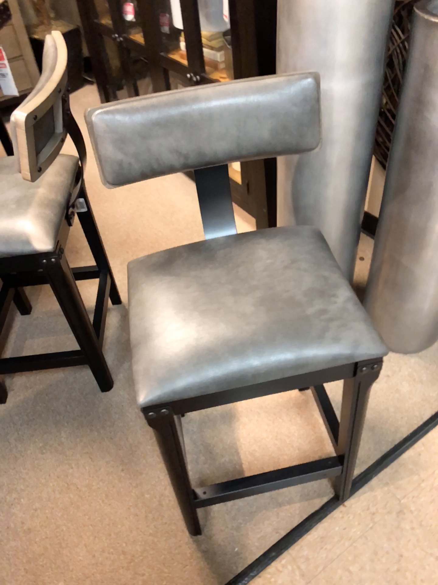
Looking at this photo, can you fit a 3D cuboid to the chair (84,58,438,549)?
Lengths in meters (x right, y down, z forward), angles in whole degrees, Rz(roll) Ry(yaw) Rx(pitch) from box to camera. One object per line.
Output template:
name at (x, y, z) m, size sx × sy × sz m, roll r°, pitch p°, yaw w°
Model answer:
chair at (0.060, 0.082, 0.990) m, size 0.440 × 0.864 × 0.463 m, roll -11°, pitch 44°, yaw -6°
